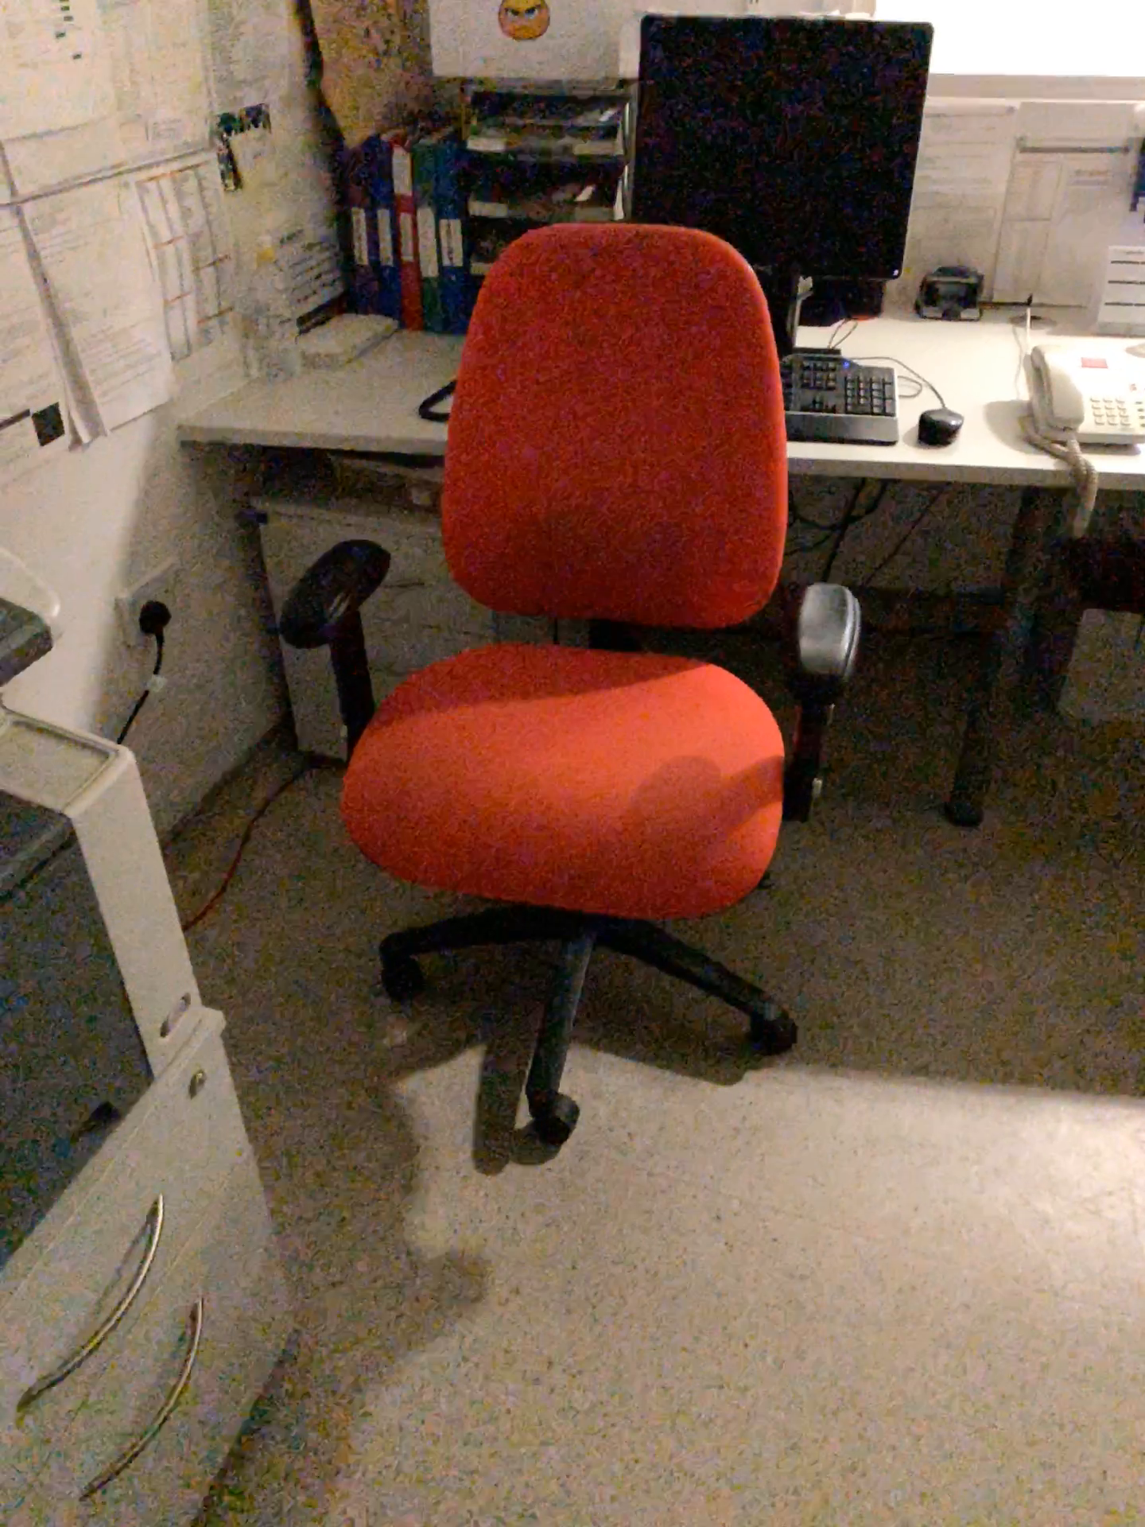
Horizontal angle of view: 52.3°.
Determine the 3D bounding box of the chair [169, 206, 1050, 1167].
[{"bbox_3d":[0.051,-0.103,1.418,0.670,0.921,0.657,3,36,5],"label":"chair"}]
